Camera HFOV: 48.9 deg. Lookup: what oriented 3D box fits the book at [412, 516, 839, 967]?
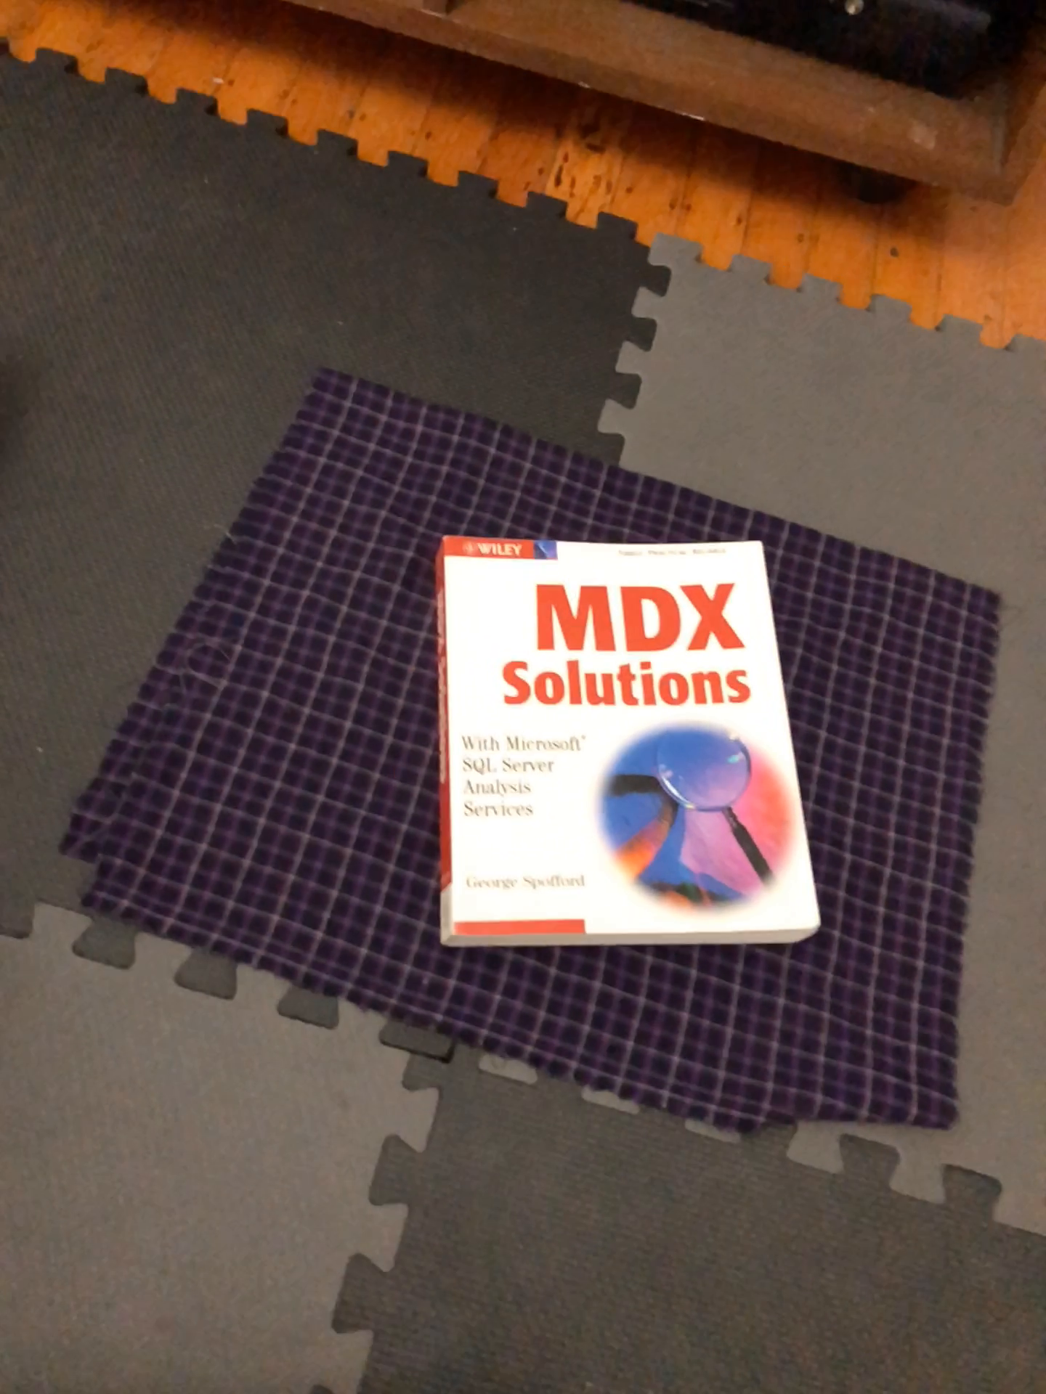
[{"bbox_3d":[0.048,0.019,0.674,0.220,0.050,0.261,0,64,-8],"label":"book"}]
